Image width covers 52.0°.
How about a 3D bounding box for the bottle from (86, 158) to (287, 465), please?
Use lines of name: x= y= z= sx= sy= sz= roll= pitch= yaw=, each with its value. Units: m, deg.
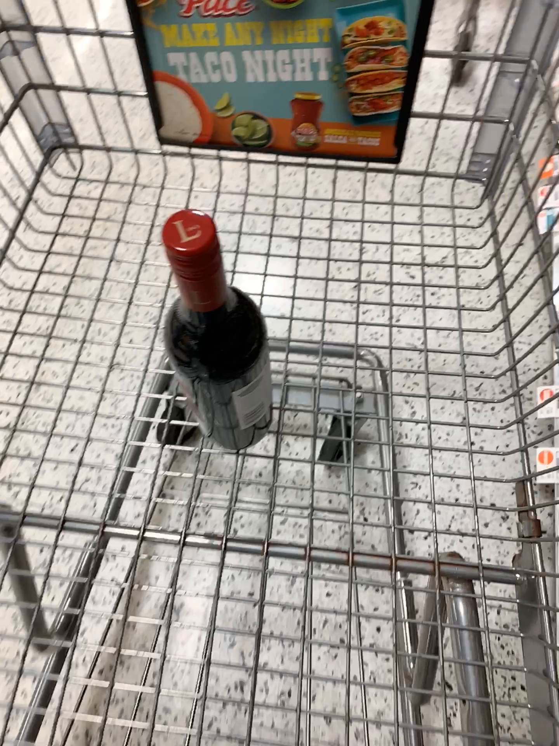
bottle: x=-0.047 y=-0.018 z=0.442 sx=0.080 sy=0.288 sz=0.091 roll=10 pitch=67 yaw=7
